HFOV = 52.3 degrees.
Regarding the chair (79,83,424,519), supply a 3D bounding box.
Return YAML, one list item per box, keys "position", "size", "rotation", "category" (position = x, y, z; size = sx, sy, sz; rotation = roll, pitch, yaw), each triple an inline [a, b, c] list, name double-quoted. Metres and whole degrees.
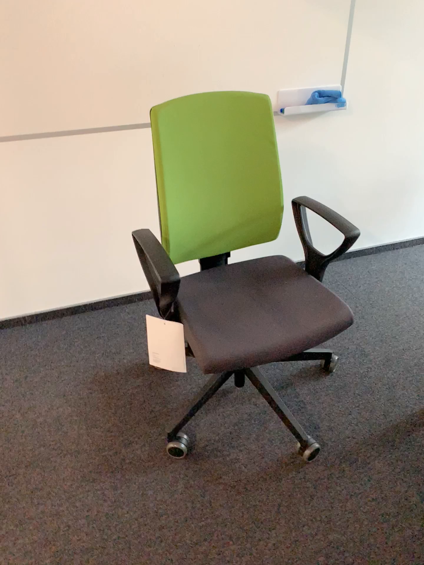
- position: [0.122, -0.021, 1.351]
  size: [0.761, 0.965, 0.733]
  rotation: [-15, 35, -20]
  category: "chair"
